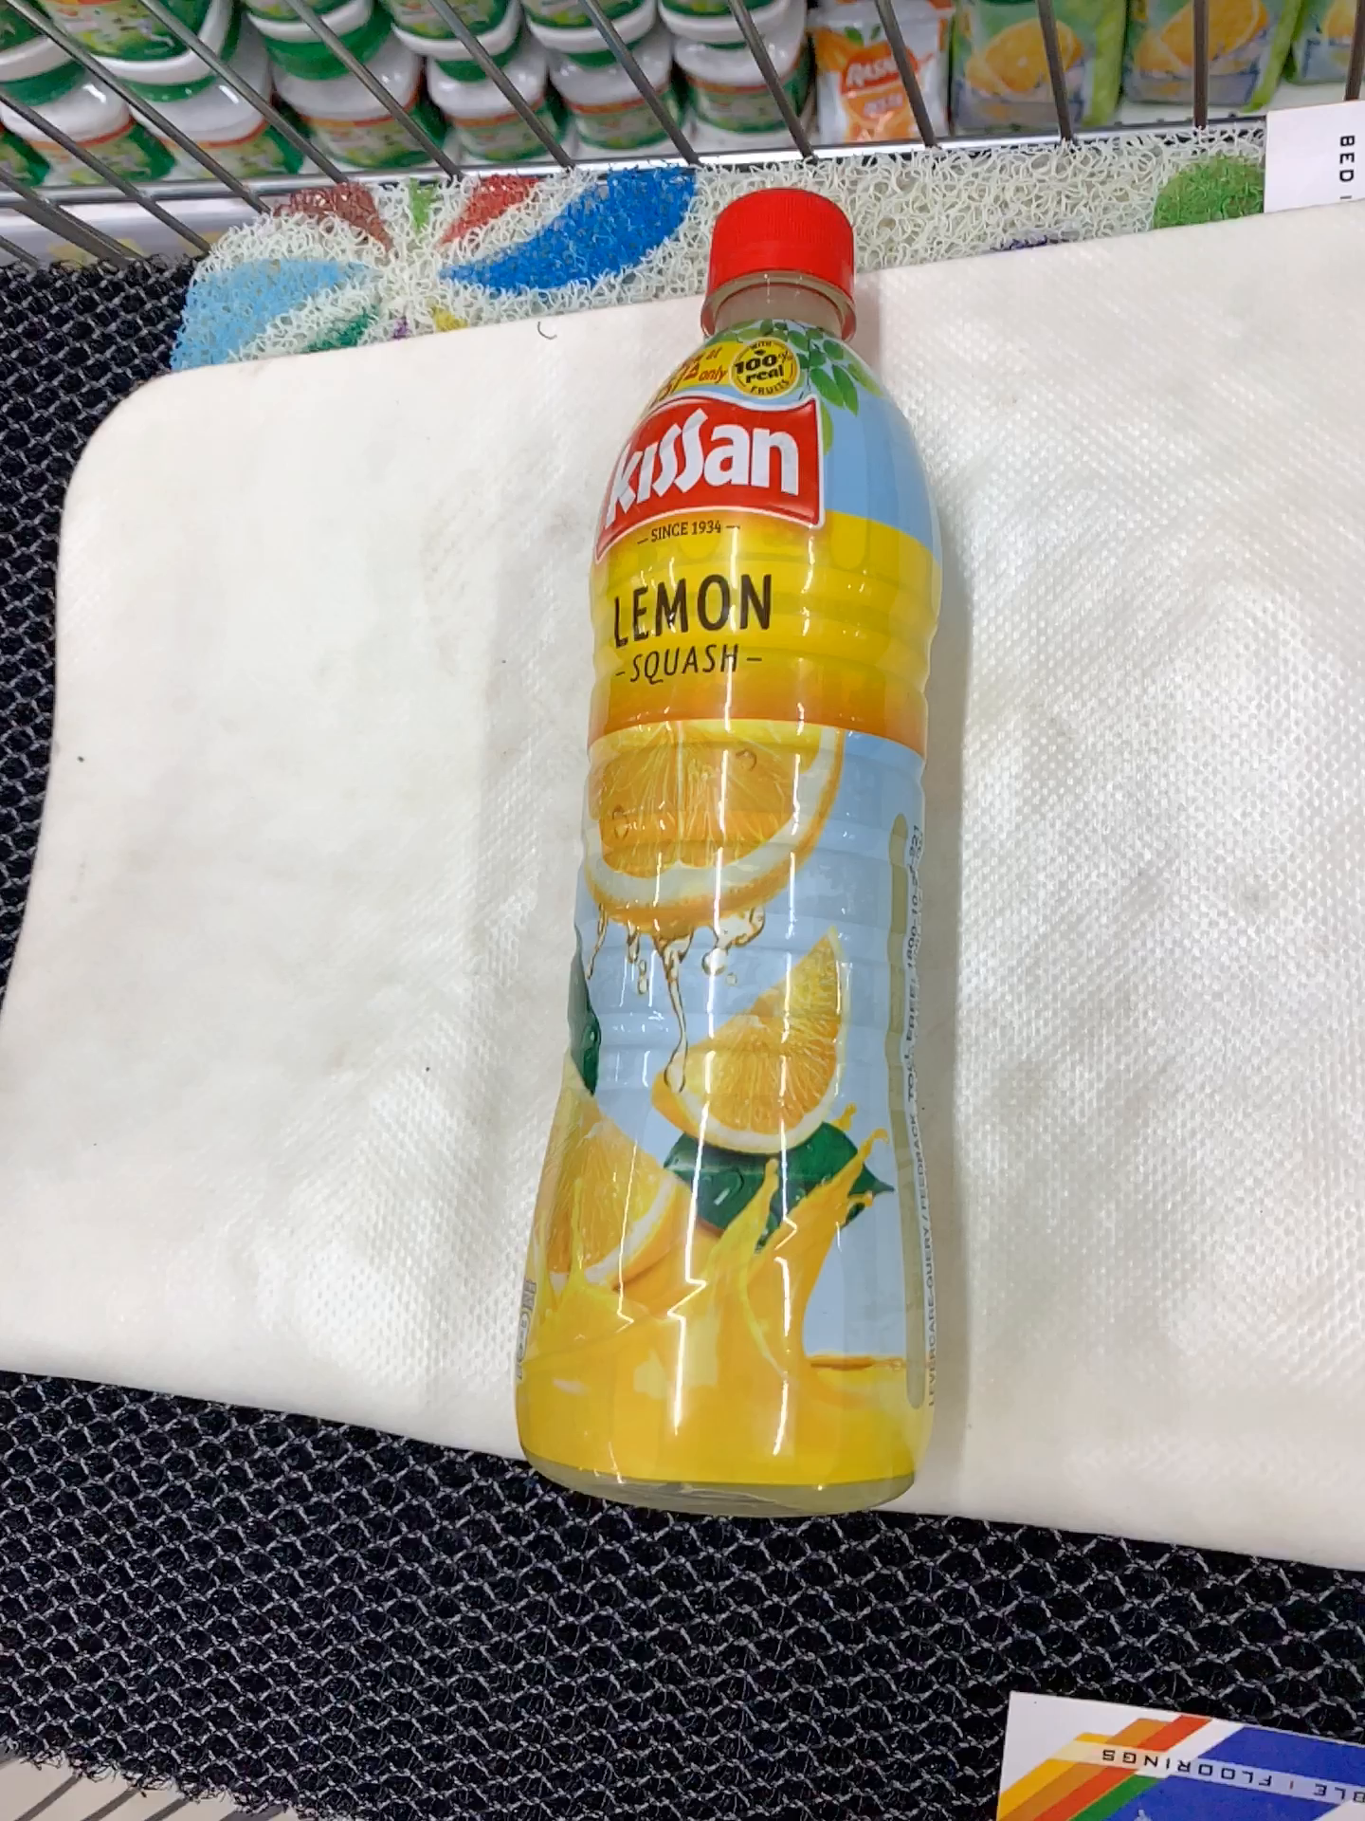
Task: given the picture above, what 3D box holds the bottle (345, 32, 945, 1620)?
[{"bbox_3d":[0.002,-0.016,0.244,0.080,0.070,0.230,1,83,12],"label":"bottle"}]
